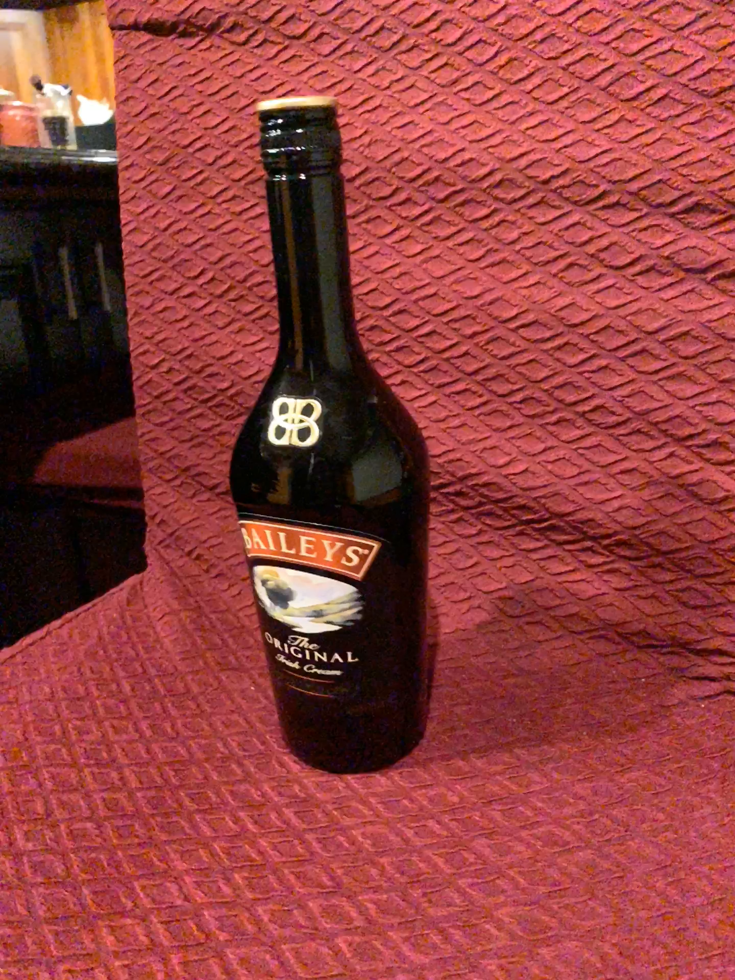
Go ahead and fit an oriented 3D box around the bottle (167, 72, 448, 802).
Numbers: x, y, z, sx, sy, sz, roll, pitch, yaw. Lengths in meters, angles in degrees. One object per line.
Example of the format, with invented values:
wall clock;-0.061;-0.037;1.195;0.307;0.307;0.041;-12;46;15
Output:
bottle;-0.015;-0.013;0.336;0.080;0.289;0.070;7;22;24
